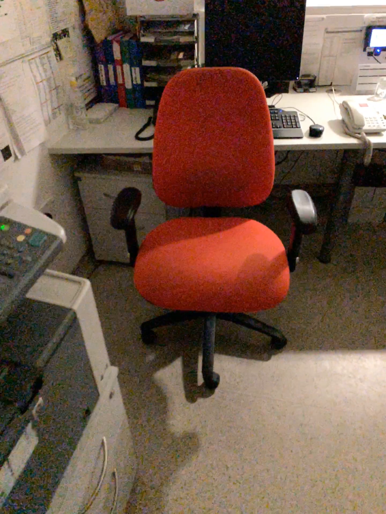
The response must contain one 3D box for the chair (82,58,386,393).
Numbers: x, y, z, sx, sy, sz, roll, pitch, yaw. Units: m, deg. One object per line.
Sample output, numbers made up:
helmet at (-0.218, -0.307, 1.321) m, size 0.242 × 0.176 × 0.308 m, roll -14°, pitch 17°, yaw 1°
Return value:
chair at (0.106, -0.101, 1.346) m, size 0.670 × 0.921 × 0.656 m, roll -2°, pitch 38°, yaw -1°
